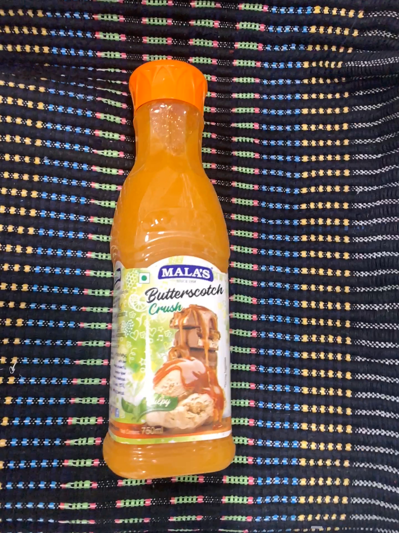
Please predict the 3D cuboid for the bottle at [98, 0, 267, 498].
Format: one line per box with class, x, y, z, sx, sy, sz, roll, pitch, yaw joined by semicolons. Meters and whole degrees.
bottle;-0.015;-0.020;0.233;0.070;0.060;0.250;3;74;-15
